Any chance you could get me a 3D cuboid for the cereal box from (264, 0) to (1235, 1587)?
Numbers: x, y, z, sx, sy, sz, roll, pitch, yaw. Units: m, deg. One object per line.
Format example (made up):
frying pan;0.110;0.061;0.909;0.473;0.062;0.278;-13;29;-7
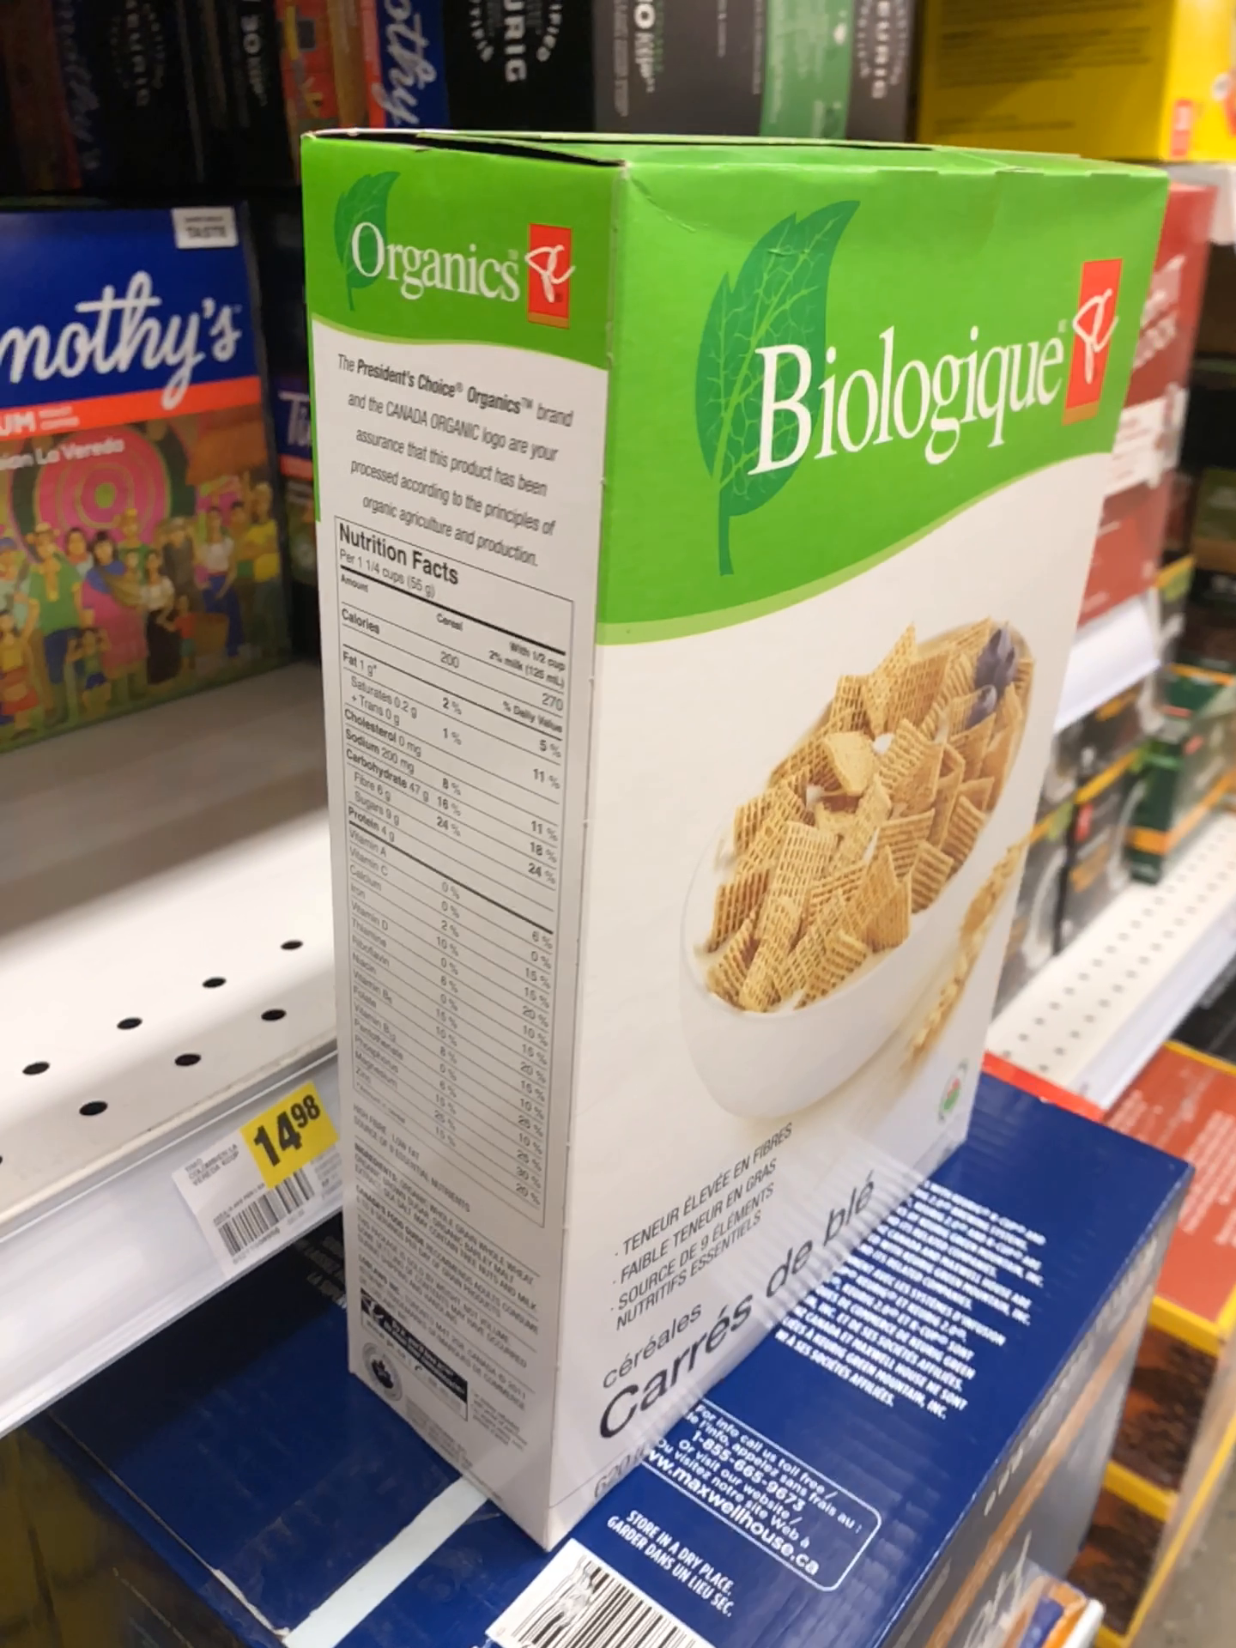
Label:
cereal box;0.034;-0.011;0.317;0.070;0.289;0.210;26;34;34
